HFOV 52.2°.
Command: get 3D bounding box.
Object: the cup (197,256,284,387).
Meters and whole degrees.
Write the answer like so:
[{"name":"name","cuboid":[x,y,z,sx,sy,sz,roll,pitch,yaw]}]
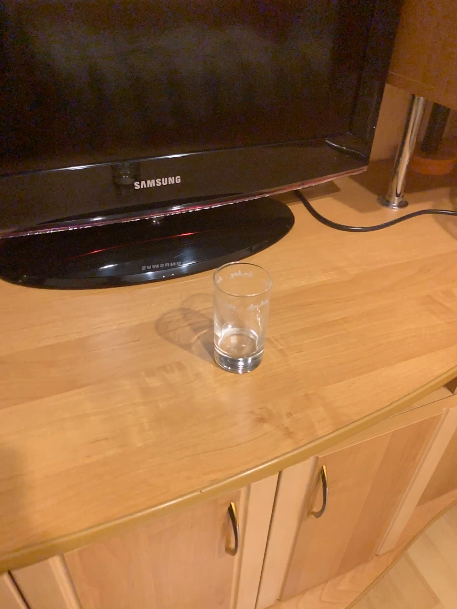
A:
[{"name":"cup","cuboid":[0.008,0.016,0.443,0.060,0.098,0.060,1,37,-1]}]
